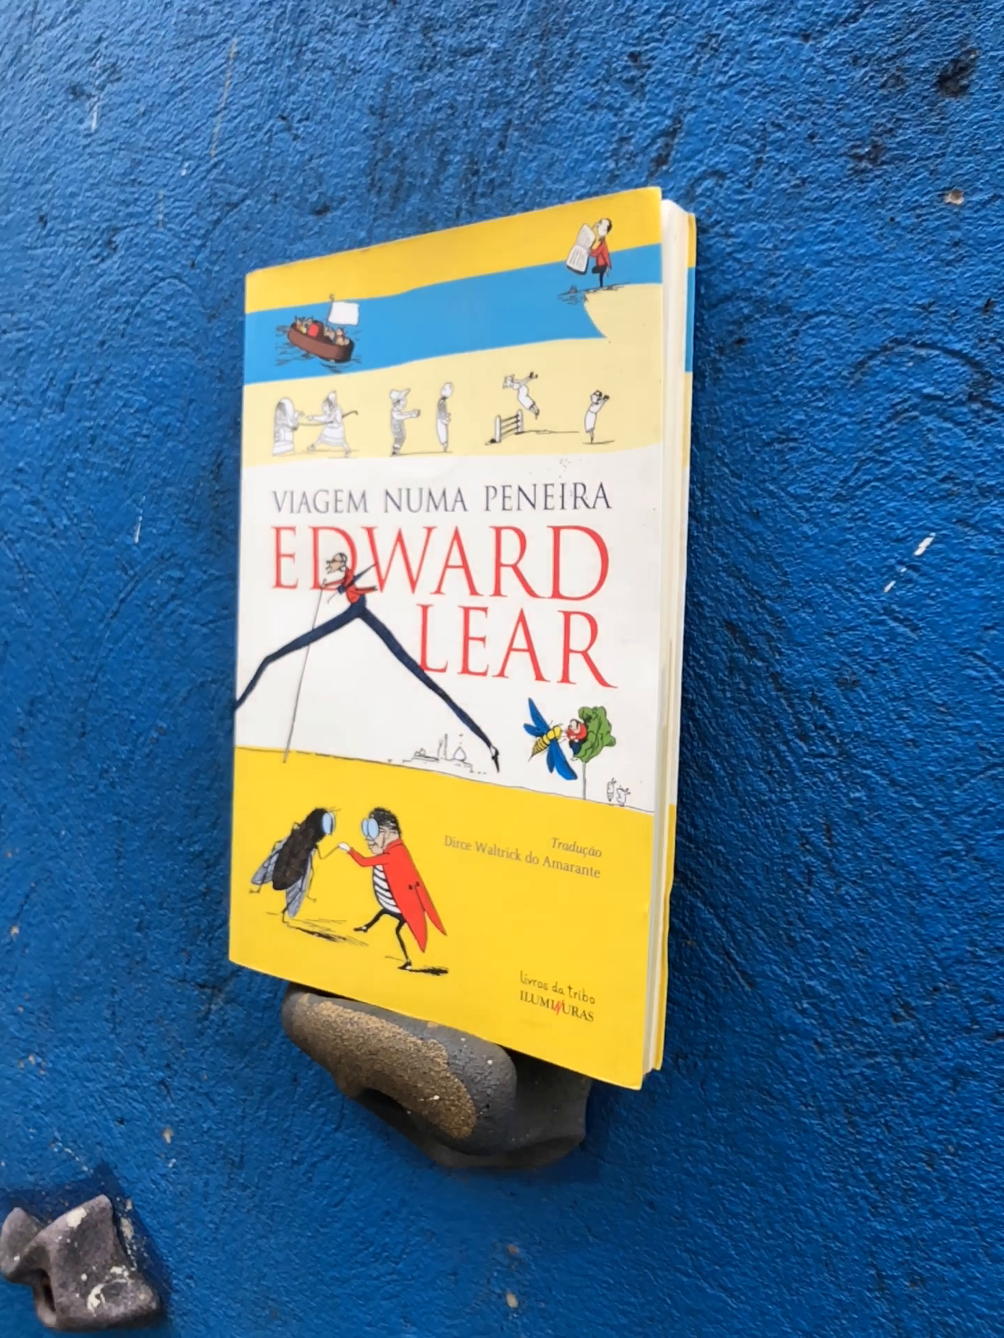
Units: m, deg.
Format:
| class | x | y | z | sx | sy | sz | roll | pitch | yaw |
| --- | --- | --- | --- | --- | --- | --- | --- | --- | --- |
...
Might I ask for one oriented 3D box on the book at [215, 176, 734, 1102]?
| class | x | y | z | sx | sy | sz | roll | pitch | yaw |
| --- | --- | --- | --- | --- | --- | --- | --- | --- | --- |
| book | -0.017 | -0.010 | 0.318 | 0.158 | 0.220 | 0.021 | 5 | 5 | 33 |
